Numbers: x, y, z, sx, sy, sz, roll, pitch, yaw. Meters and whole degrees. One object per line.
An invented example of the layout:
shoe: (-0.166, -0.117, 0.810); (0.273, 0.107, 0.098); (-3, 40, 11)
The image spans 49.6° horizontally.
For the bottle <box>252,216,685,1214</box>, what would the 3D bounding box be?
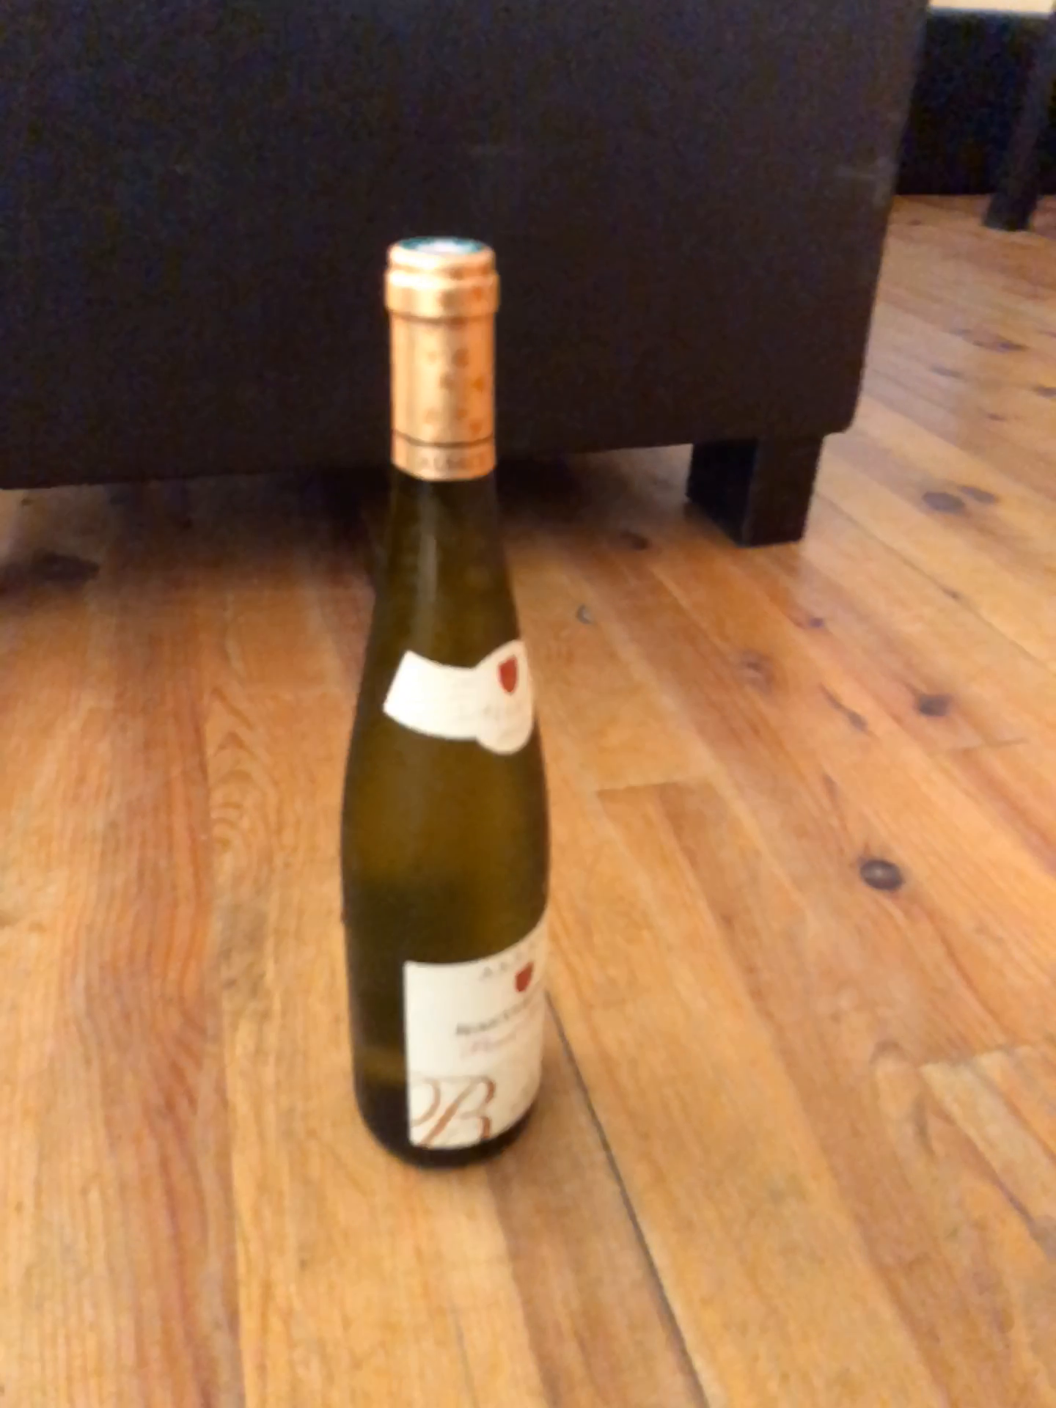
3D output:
bottle: (-0.019, 0.018, 0.380); (0.080, 0.318, 0.080); (2, 31, -1)
